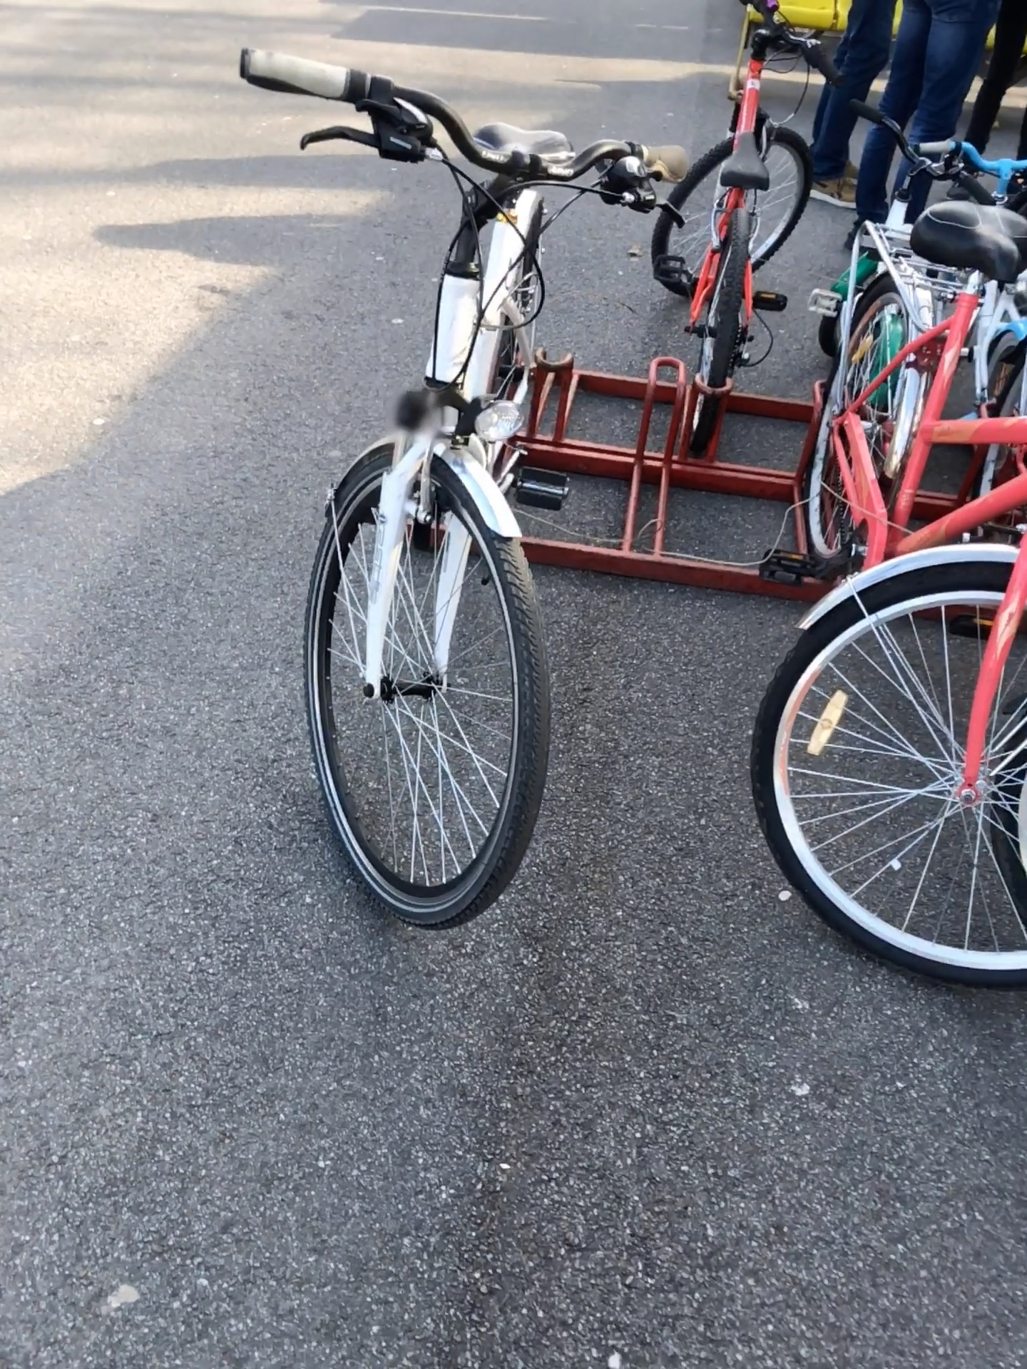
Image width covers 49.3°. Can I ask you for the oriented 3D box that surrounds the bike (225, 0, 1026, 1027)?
[{"bbox_3d":[0.060,-0.511,1.911,0.644,1.111,1.708,2,39,-1],"label":"bike"}]
